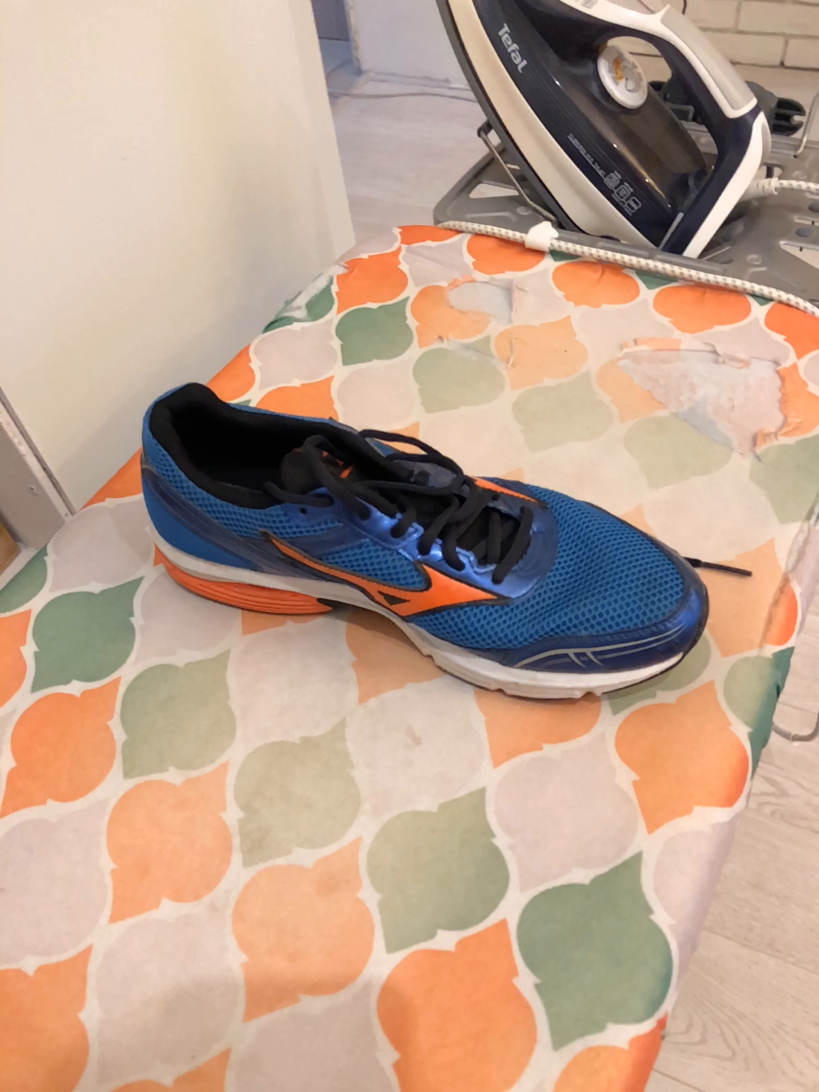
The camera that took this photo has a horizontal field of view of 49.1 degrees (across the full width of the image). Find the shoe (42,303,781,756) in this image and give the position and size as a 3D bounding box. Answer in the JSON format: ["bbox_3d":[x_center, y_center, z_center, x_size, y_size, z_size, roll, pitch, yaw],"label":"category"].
[{"bbox_3d":[0.002,-0.016,0.445,0.310,0.109,0.121,13,58,17],"label":"shoe"}]
